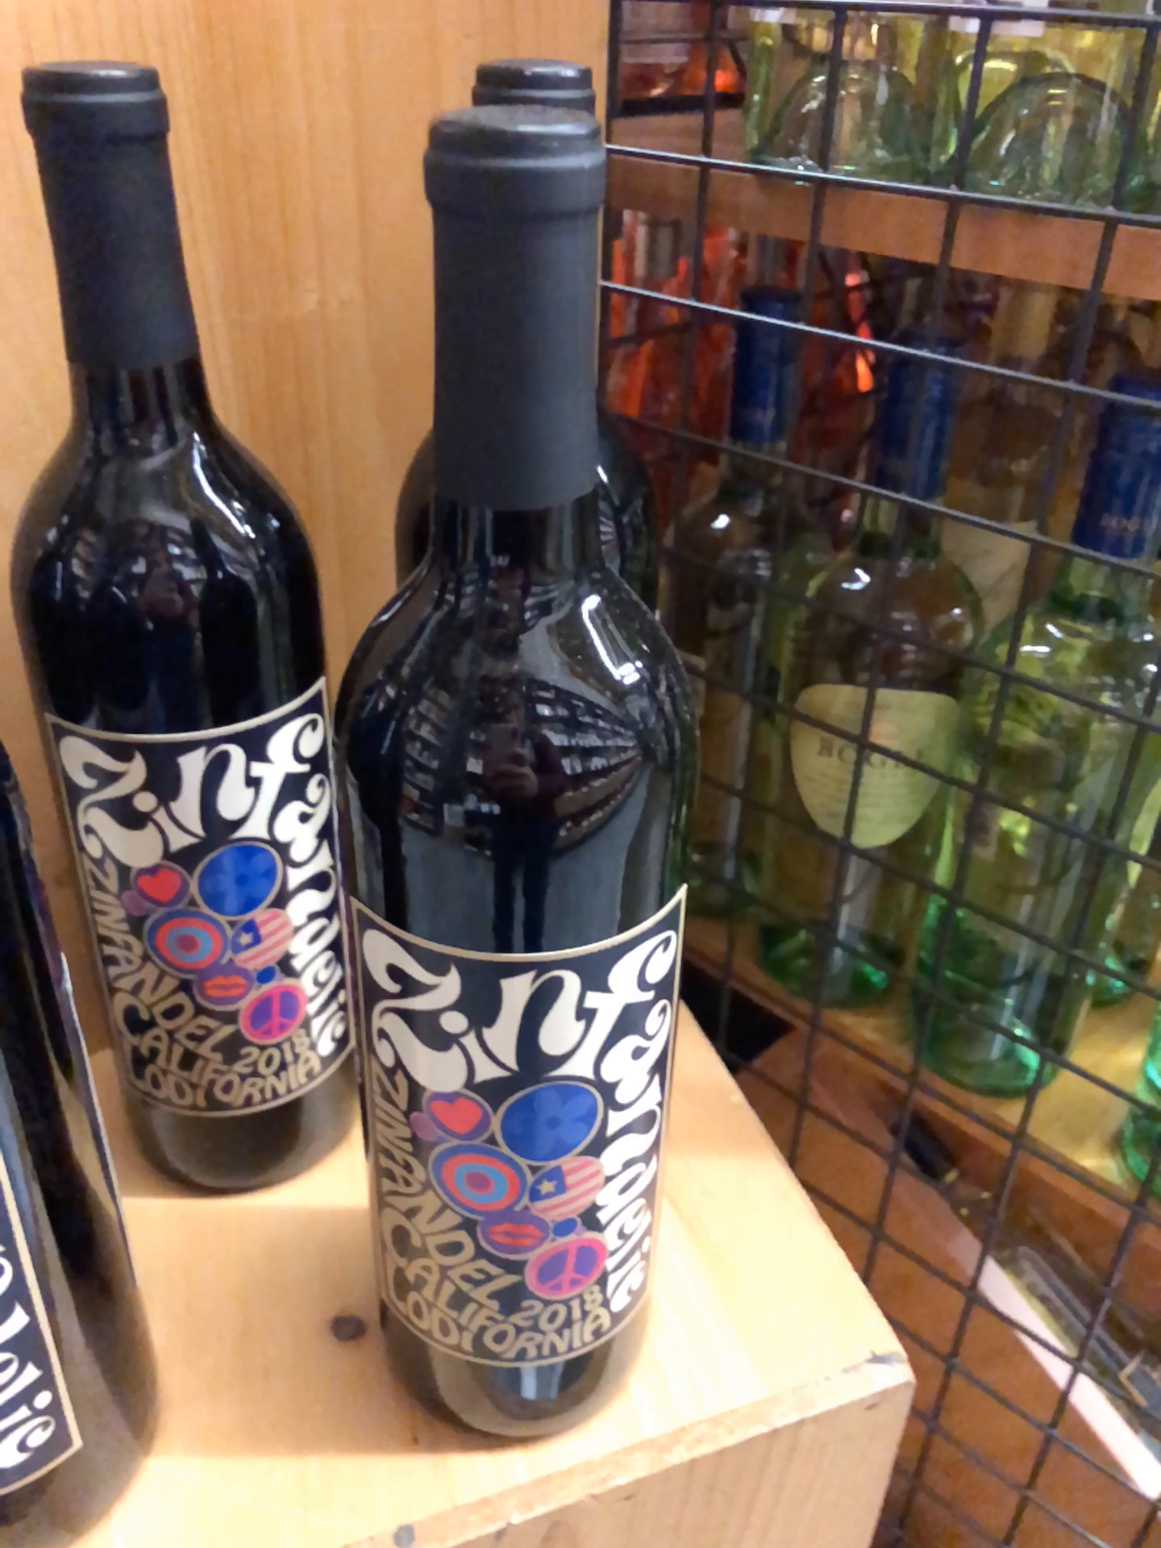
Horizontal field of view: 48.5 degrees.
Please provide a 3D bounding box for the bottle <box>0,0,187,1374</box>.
[{"bbox_3d":[-0.154,0.001,0.274,0.077,0.280,0.080,2,32,-1],"label":"bottle"}]

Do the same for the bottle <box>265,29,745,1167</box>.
[{"bbox_3d":[-0.020,-0.036,0.376,0.077,0.310,0.080,2,32,-1],"label":"bottle"}]

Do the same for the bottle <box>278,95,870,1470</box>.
[{"bbox_3d":[-0.010,0.022,0.271,0.073,0.286,0.070,2,32,-1],"label":"bottle"}]

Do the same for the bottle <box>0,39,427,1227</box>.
[{"bbox_3d":[-0.098,-0.023,0.323,0.077,0.274,0.080,2,32,-1],"label":"bottle"}]

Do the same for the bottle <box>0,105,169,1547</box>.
[{"bbox_3d":[-0.143,0.046,0.248,0.080,0.304,0.077,2,32,-1],"label":"bottle"}]
